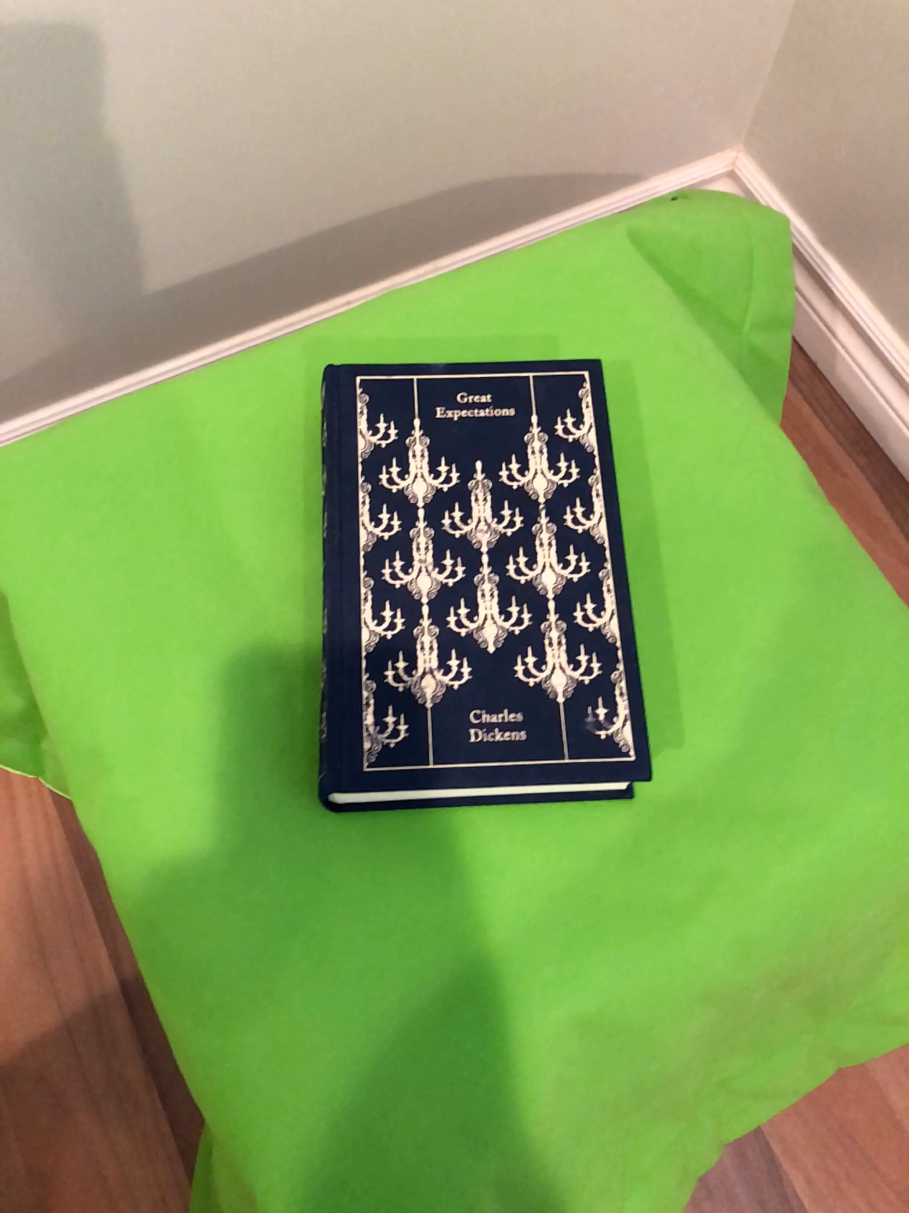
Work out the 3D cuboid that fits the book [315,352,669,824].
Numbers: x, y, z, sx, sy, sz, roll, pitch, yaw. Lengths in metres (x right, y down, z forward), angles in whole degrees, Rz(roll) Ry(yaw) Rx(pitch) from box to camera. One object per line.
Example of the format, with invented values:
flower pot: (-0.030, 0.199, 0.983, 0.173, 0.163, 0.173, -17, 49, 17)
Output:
book: (0.009, -0.014, 0.454, 0.140, 0.040, 0.210, -2, 67, -3)
